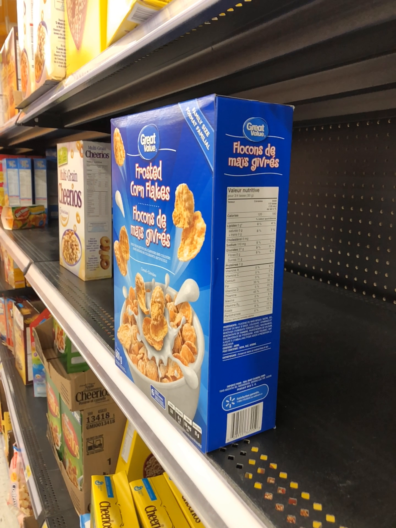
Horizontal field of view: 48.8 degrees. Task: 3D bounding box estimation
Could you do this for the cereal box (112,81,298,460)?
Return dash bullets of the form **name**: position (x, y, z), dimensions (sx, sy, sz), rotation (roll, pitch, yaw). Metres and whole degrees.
- **cereal box**: position (-0.011, -0.006, 0.457), dimensions (0.080, 0.309, 0.211), rotation (-5, 13, -32)
